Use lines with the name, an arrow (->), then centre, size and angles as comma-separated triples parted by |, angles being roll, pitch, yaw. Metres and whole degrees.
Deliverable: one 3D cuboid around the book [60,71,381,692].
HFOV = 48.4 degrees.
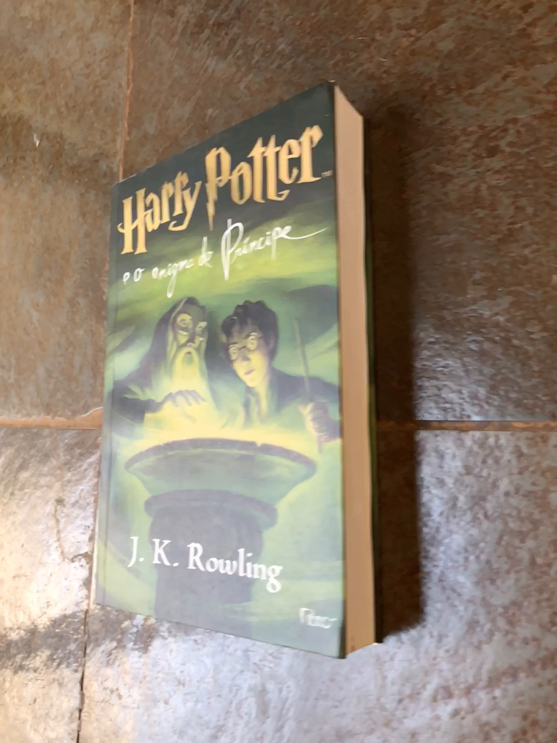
book -> -0.031, 0.004, 0.254 | 0.143, 0.030, 0.200 | -7, 80, 38
